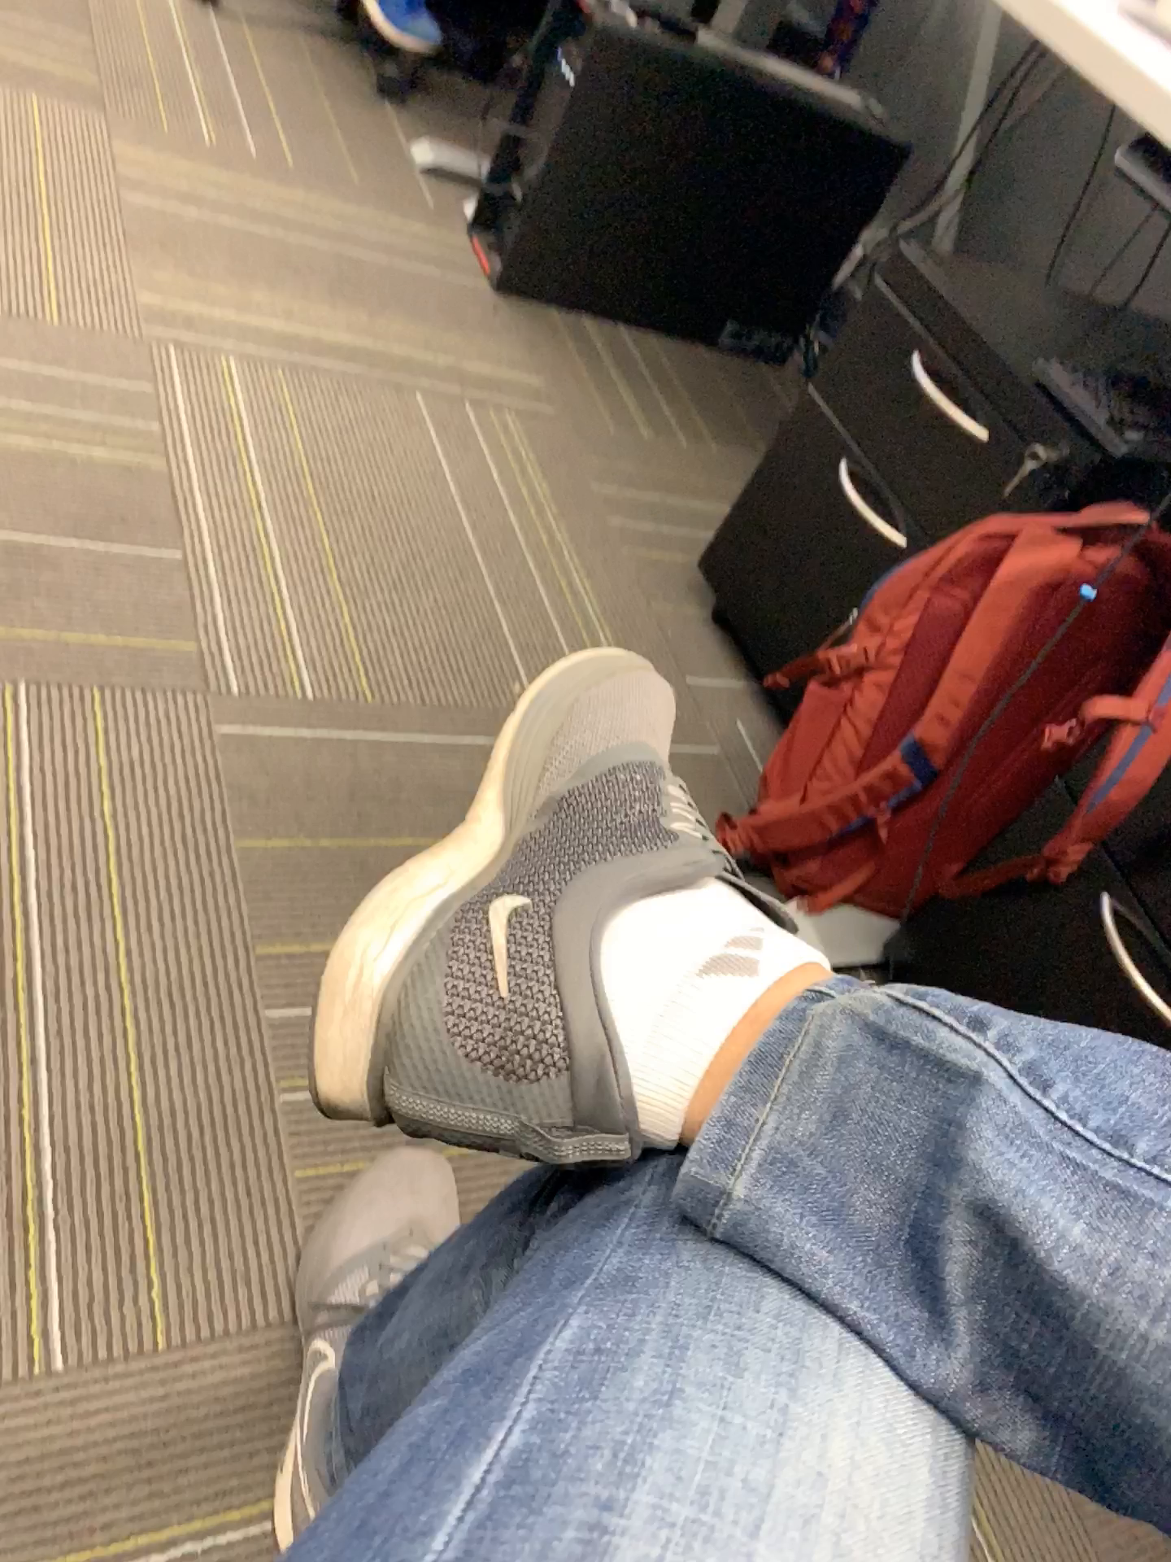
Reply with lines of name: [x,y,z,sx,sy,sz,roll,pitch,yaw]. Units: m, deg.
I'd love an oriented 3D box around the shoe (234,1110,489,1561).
shoe: [-0.145,0.390,0.830,0.117,0.074,0.294,17,44,-16]

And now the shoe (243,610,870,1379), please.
shoe: [0.020,0.050,0.477,0.142,0.115,0.296,5,34,19]
